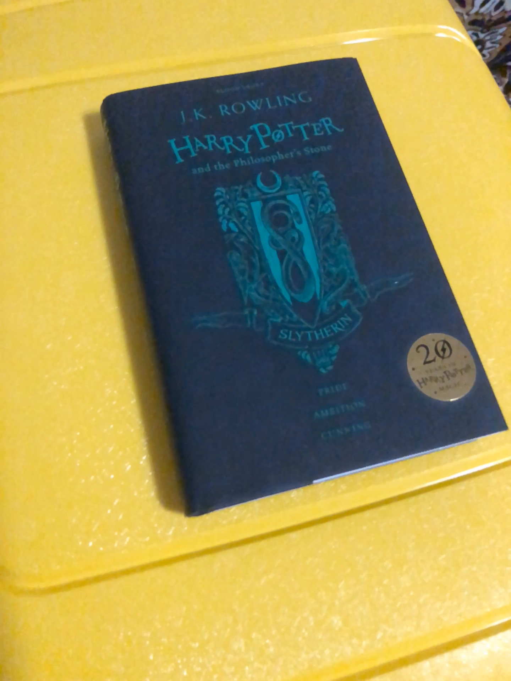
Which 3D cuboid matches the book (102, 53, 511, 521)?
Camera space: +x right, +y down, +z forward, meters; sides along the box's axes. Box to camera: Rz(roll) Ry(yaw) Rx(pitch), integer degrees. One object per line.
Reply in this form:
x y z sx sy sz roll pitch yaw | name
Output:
0.016 -0.038 0.265 0.136 0.030 0.205 -13 70 -9 | book
